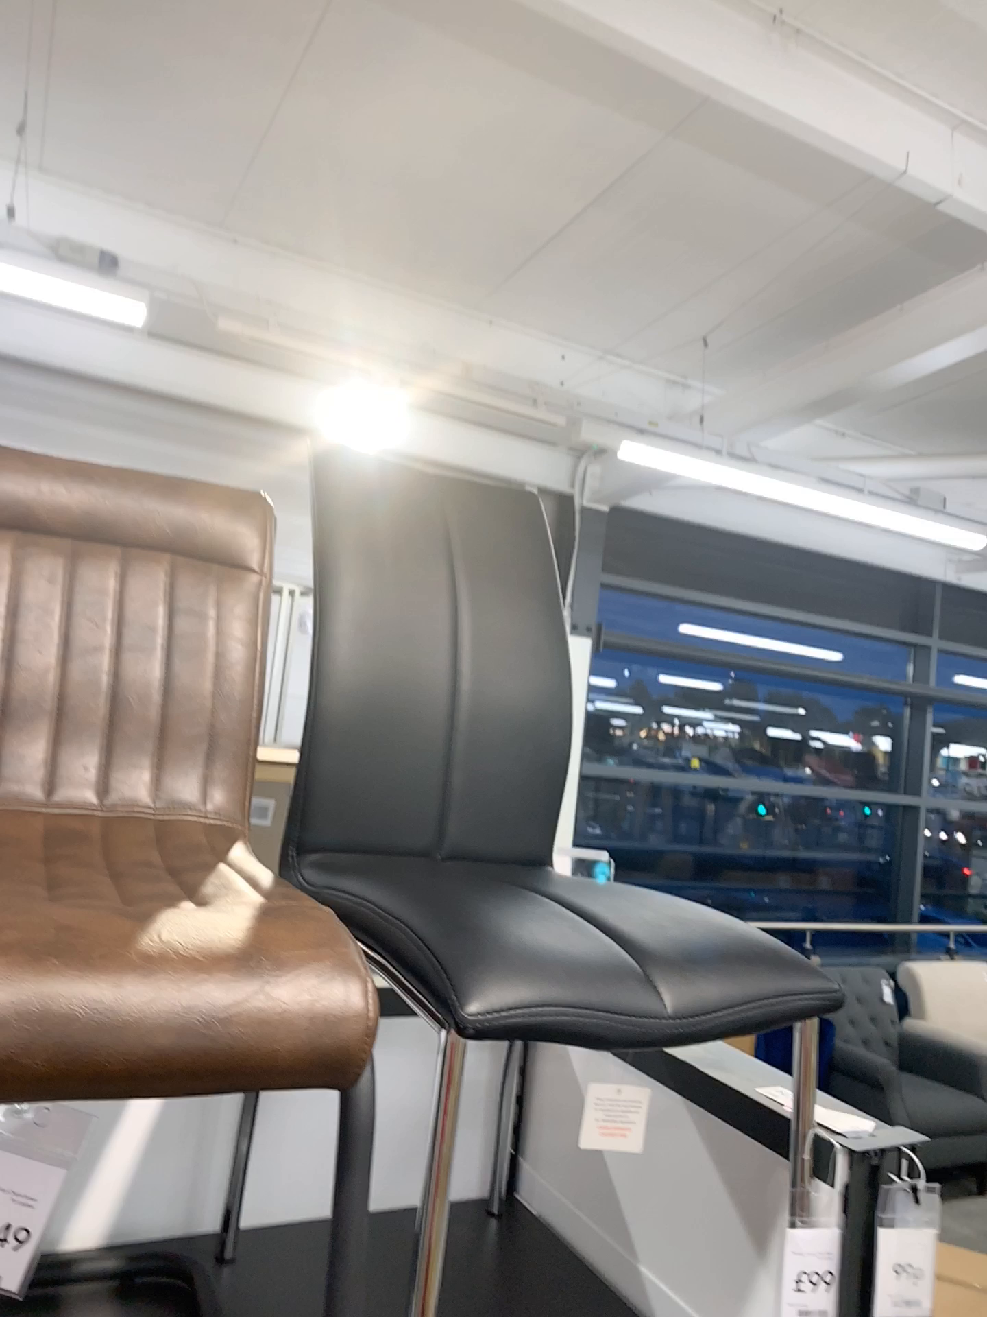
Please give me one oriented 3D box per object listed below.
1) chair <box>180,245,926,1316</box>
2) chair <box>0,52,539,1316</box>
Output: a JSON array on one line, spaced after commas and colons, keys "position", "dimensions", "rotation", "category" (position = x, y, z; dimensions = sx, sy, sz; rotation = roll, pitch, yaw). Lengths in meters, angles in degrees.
[{"position": [0.029, 0.203, 1.114], "dimensions": [0.474, 0.996, 0.583], "rotation": [9, -5, -29], "category": "chair"}, {"position": [-0.391, 0.177, 0.843], "dimensions": [0.554, 0.885, 0.583], "rotation": [9, -5, -25], "category": "chair"}]
